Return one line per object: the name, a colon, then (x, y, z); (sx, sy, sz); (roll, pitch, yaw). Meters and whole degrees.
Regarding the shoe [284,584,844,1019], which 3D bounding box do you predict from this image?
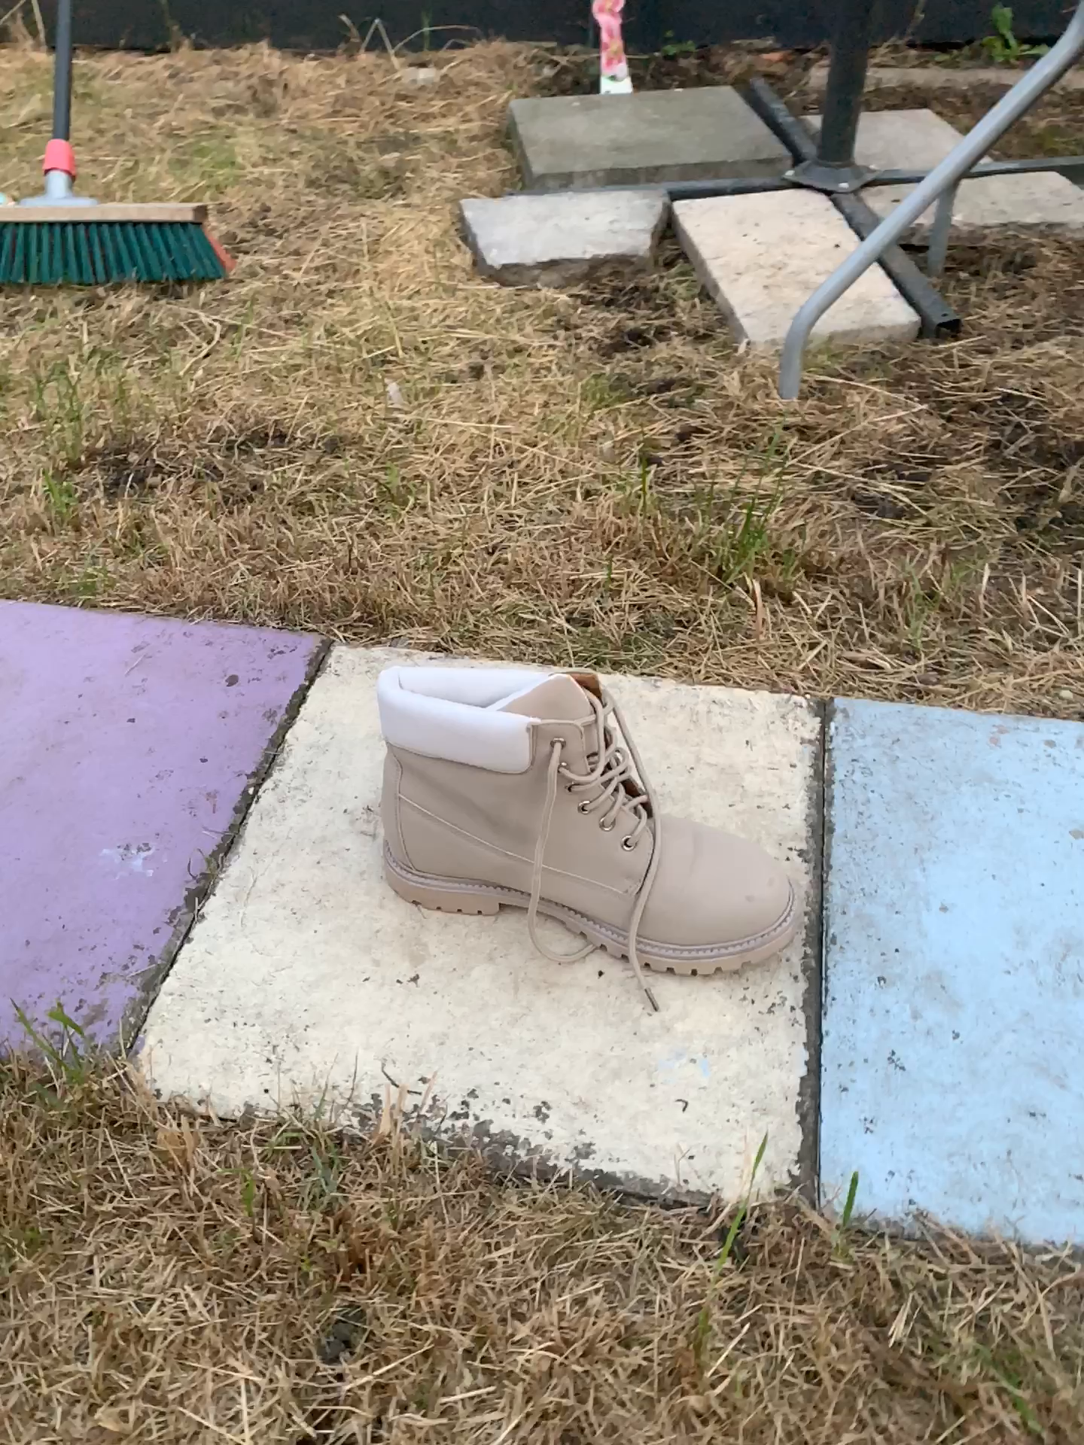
shoe: (0.017, 0.046, 0.653); (0.280, 0.198, 0.101); (9, 44, 14)
